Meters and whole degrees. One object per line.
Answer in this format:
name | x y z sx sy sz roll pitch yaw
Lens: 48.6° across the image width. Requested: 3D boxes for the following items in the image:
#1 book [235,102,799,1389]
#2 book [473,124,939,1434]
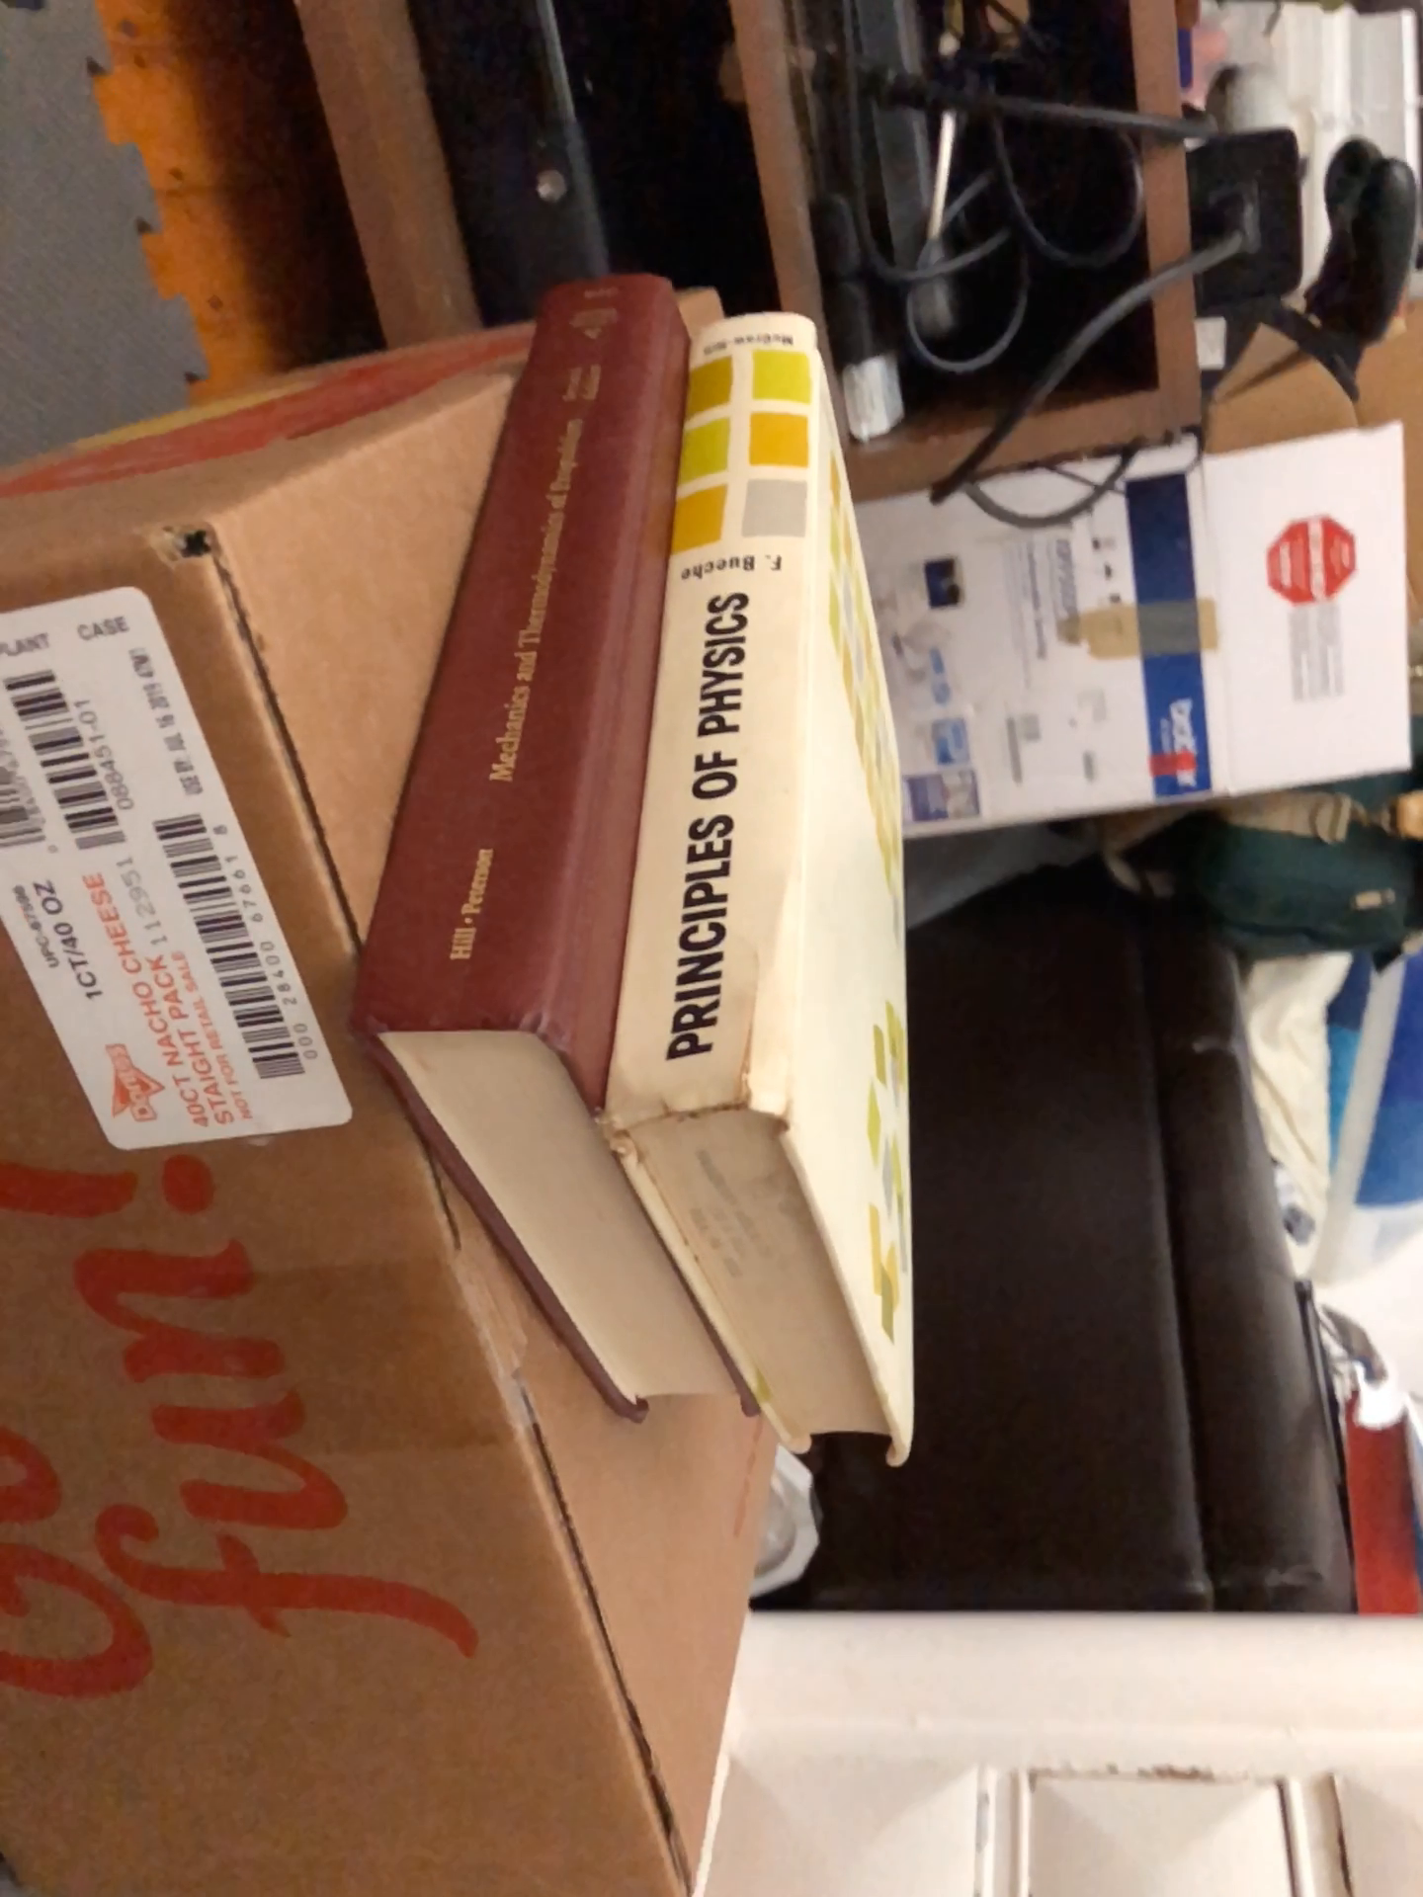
book | -0.021 -0.053 0.375 0.180 0.040 0.251 67 20 -47
book | 0.013 -0.042 0.372 0.180 0.040 0.251 66 21 -49
